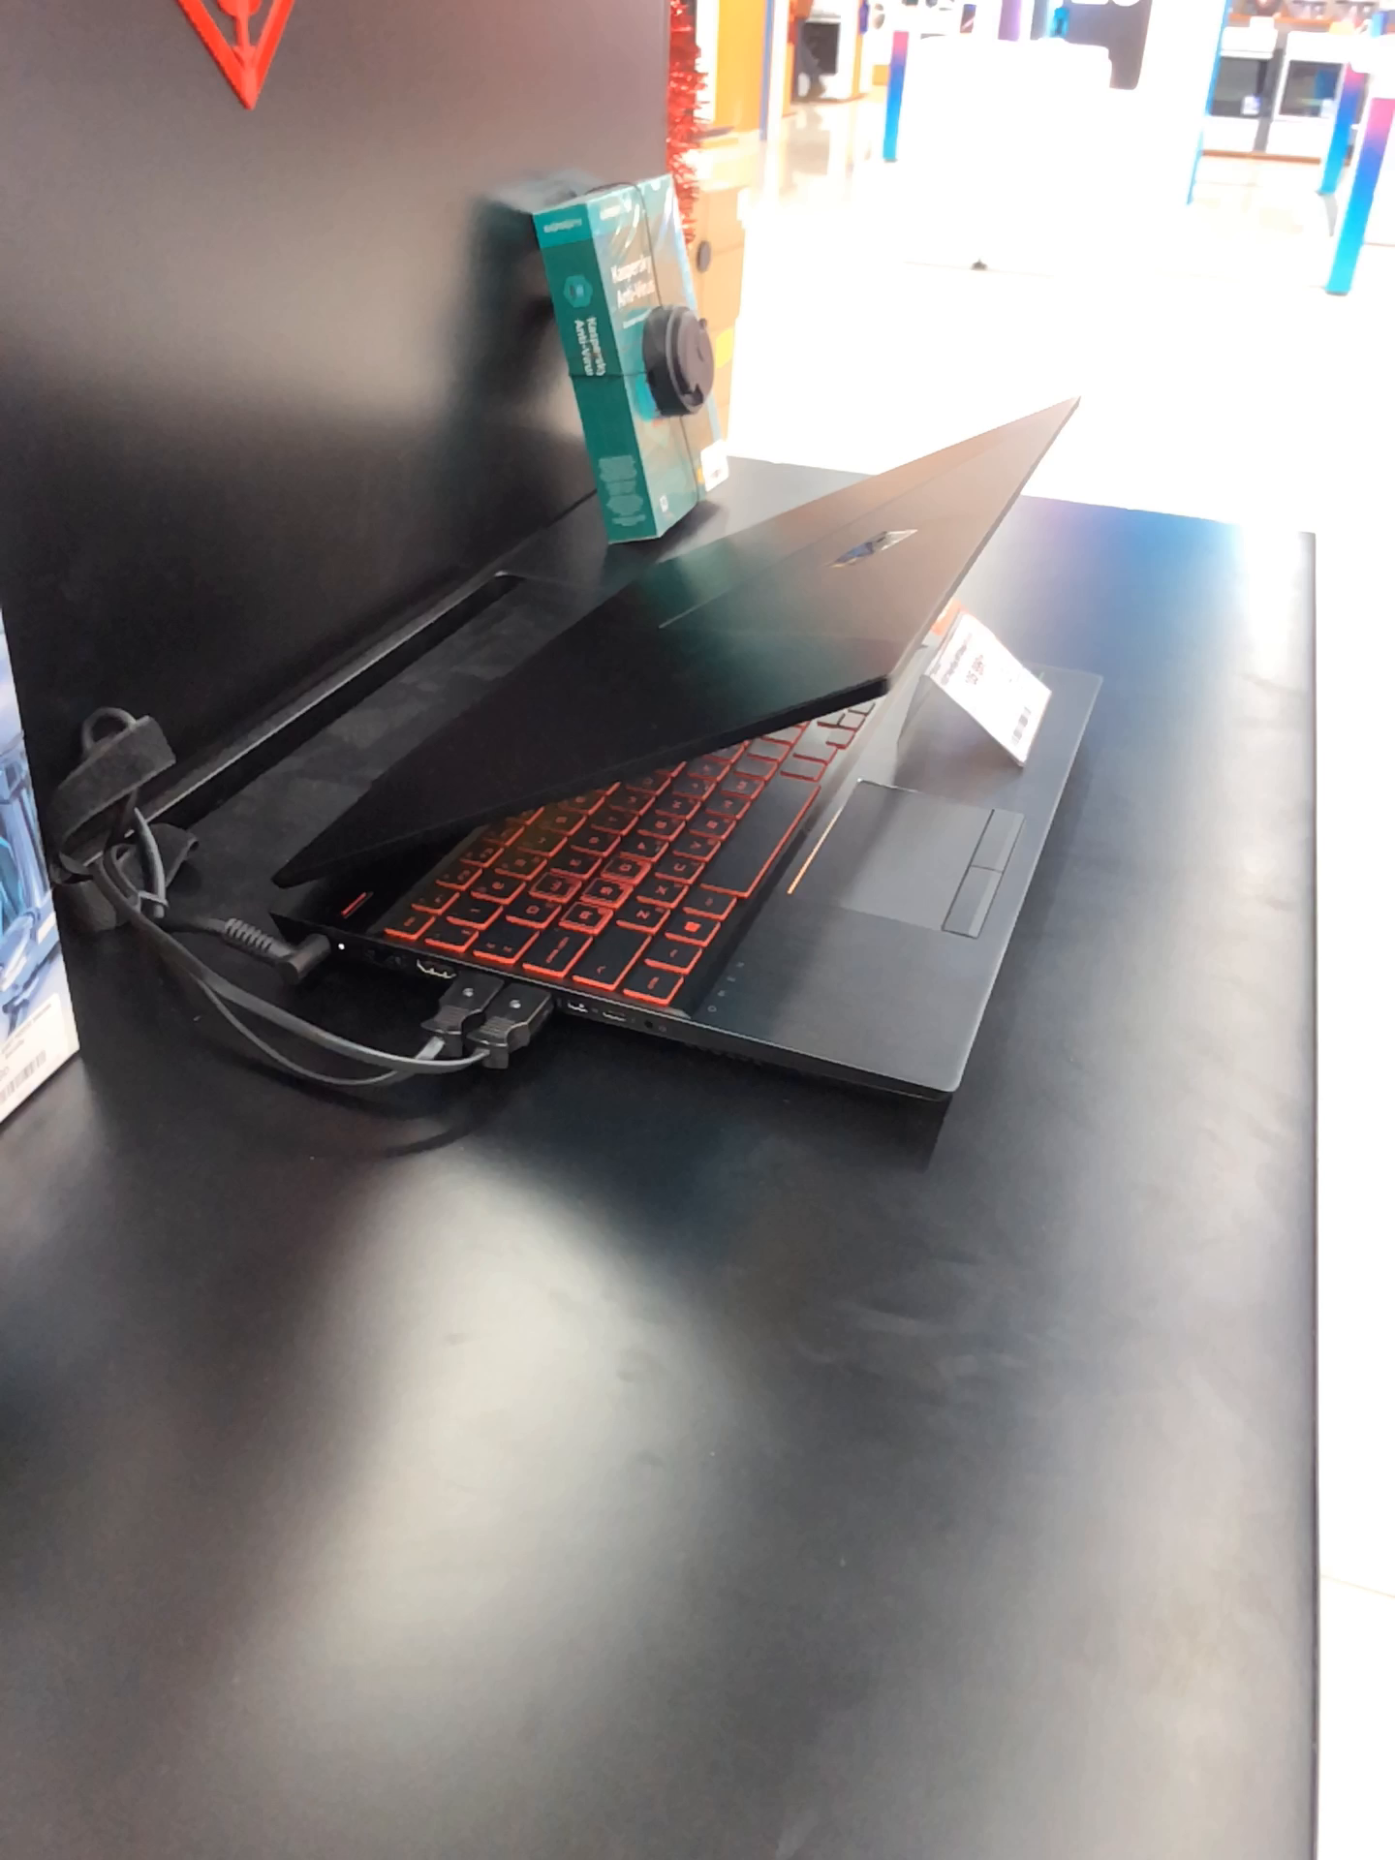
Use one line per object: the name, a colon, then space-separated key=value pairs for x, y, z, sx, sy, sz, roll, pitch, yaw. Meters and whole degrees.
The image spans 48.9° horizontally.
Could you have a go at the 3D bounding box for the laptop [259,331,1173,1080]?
laptop: x=0.037 y=-0.122 z=0.611 sx=0.230 sy=0.121 sz=0.352 roll=15 pitch=35 yaw=16
